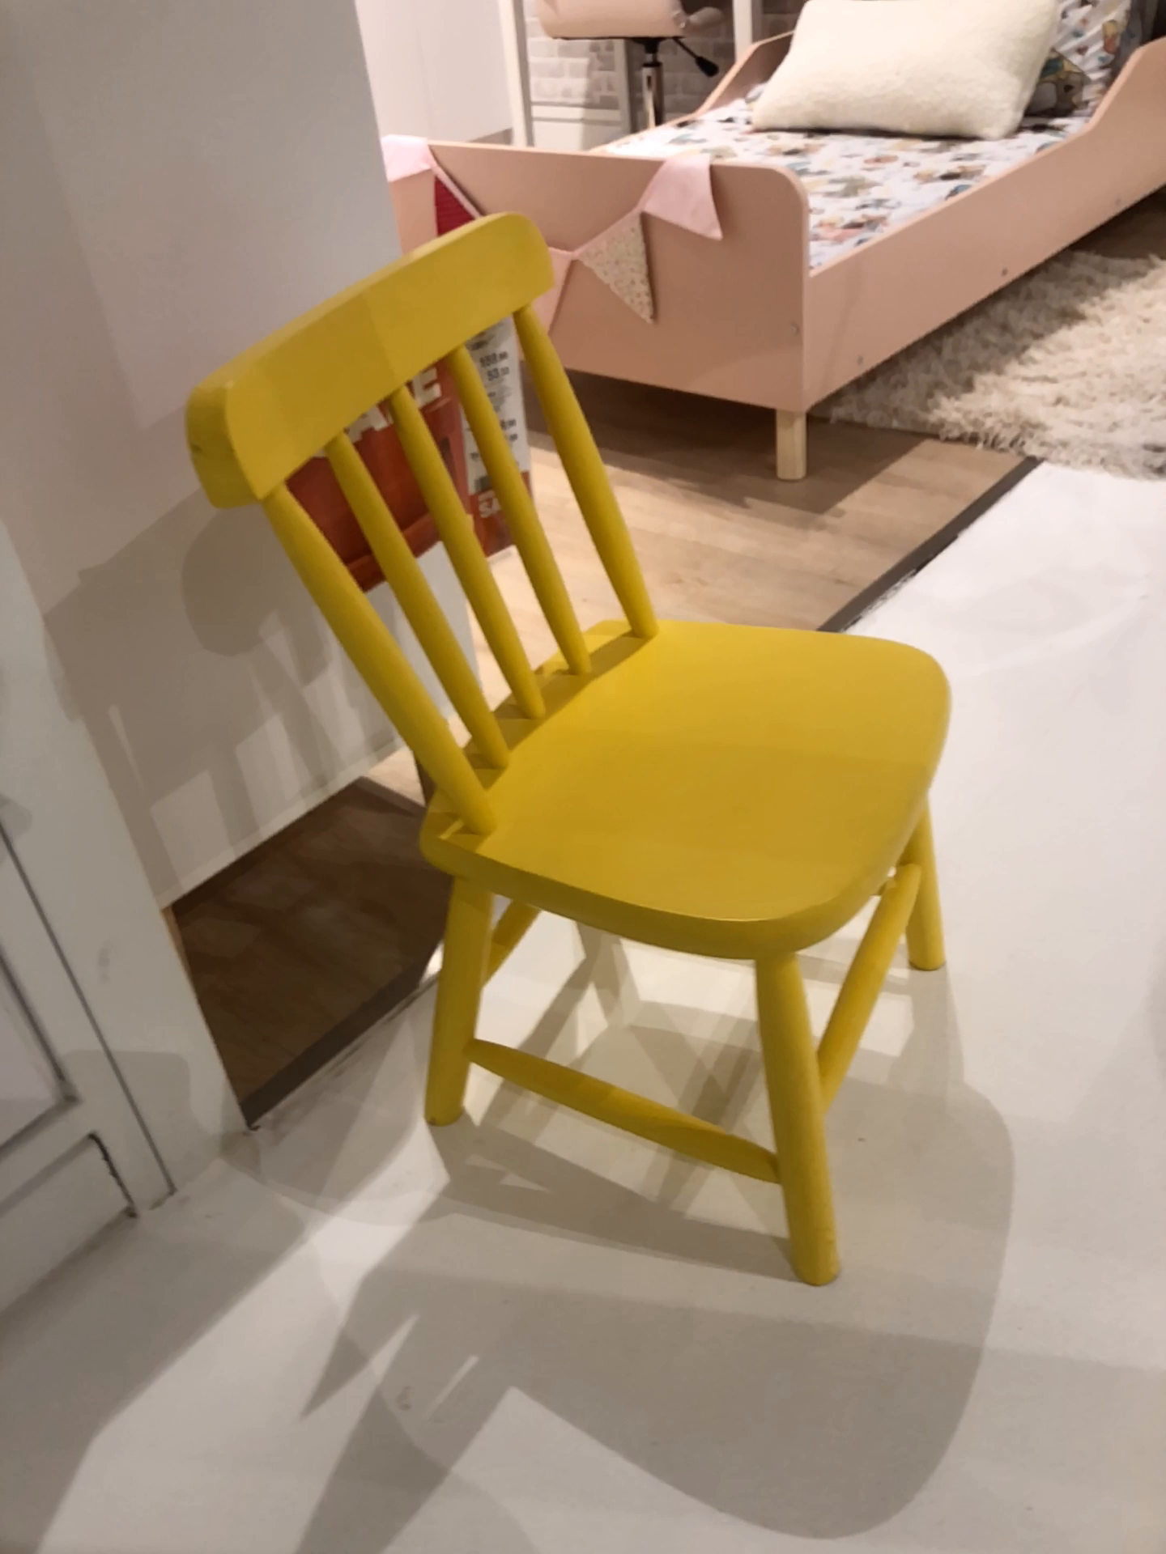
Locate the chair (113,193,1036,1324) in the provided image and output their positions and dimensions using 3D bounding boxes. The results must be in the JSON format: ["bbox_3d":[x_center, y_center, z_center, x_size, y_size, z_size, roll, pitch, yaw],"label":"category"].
[{"bbox_3d":[0.050,-0.027,0.847,0.370,0.575,0.383,9,39,22],"label":"chair"}]
